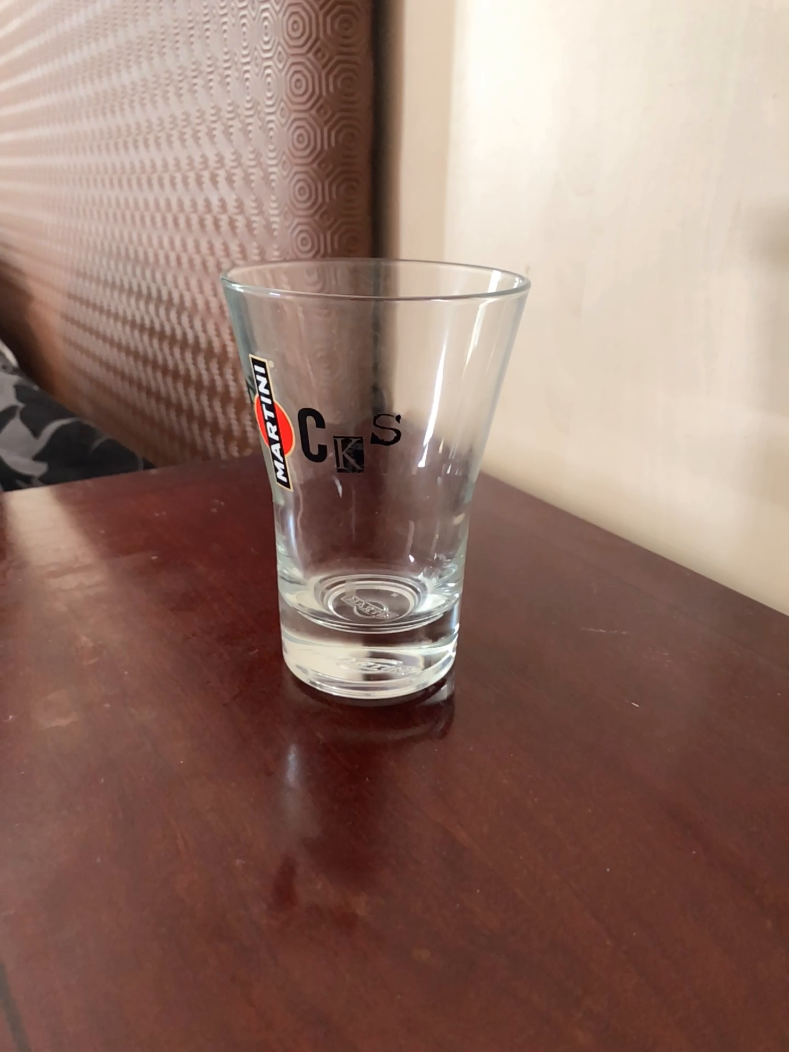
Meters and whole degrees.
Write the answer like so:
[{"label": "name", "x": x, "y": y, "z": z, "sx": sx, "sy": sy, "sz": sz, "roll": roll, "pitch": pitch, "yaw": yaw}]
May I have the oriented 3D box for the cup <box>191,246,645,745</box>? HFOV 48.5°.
[{"label": "cup", "x": 0.001, "y": -0.020, "z": 0.271, "sx": 0.094, "sy": 0.118, "sz": 0.094, "roll": 1, "pitch": 21, "yaw": -1}]
